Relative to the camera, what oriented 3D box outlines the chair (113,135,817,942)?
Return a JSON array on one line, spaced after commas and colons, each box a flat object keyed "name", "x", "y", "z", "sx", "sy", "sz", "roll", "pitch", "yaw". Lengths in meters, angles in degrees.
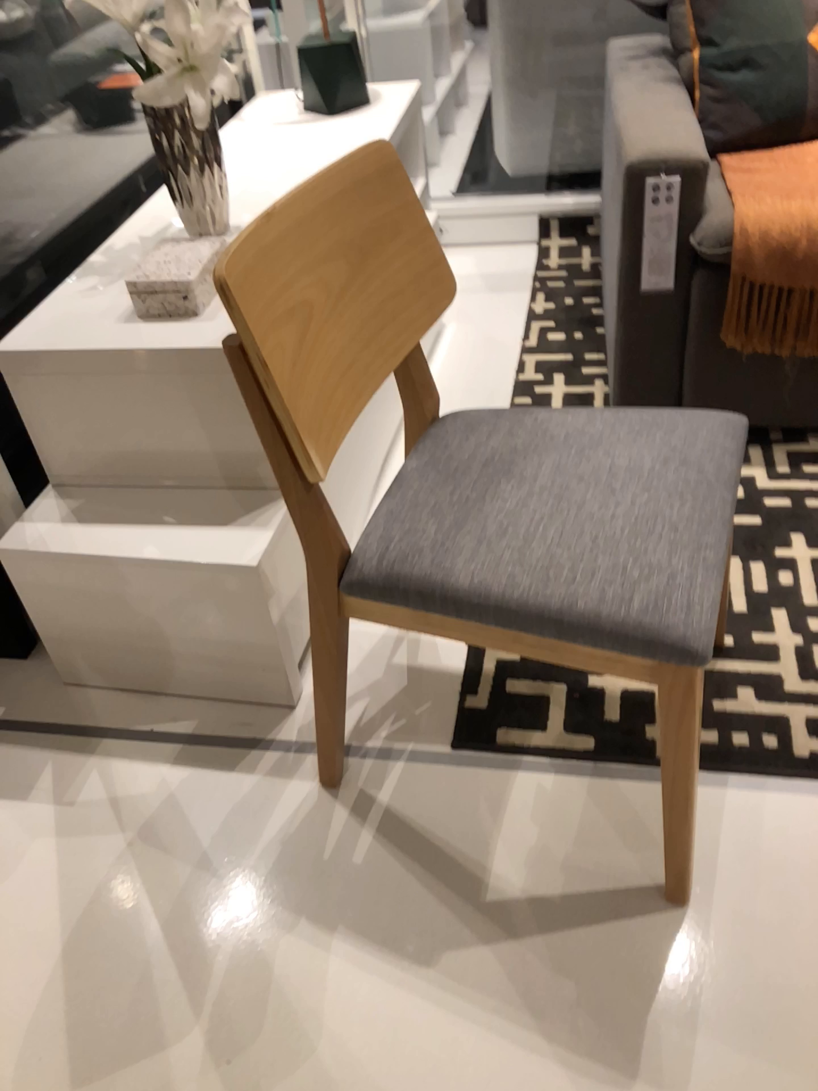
[{"name": "chair", "x": 0.137, "y": -0.023, "z": 1.152, "sx": 0.580, "sy": 0.794, "sz": 0.544, "roll": 8, "pitch": 42, "yaw": 19}]
